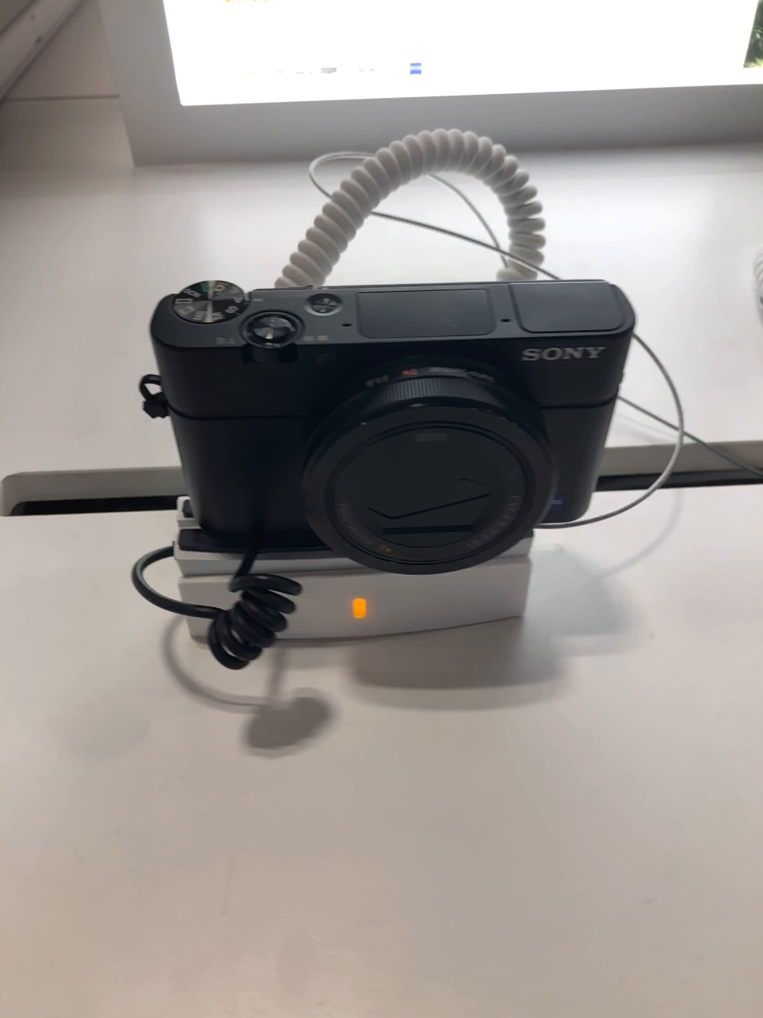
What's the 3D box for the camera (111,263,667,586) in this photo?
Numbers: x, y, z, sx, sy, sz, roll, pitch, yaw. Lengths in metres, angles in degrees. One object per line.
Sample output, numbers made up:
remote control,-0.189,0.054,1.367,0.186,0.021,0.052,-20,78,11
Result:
camera,0.002,-0.018,0.203,0.110,0.070,0.030,-2,43,0
